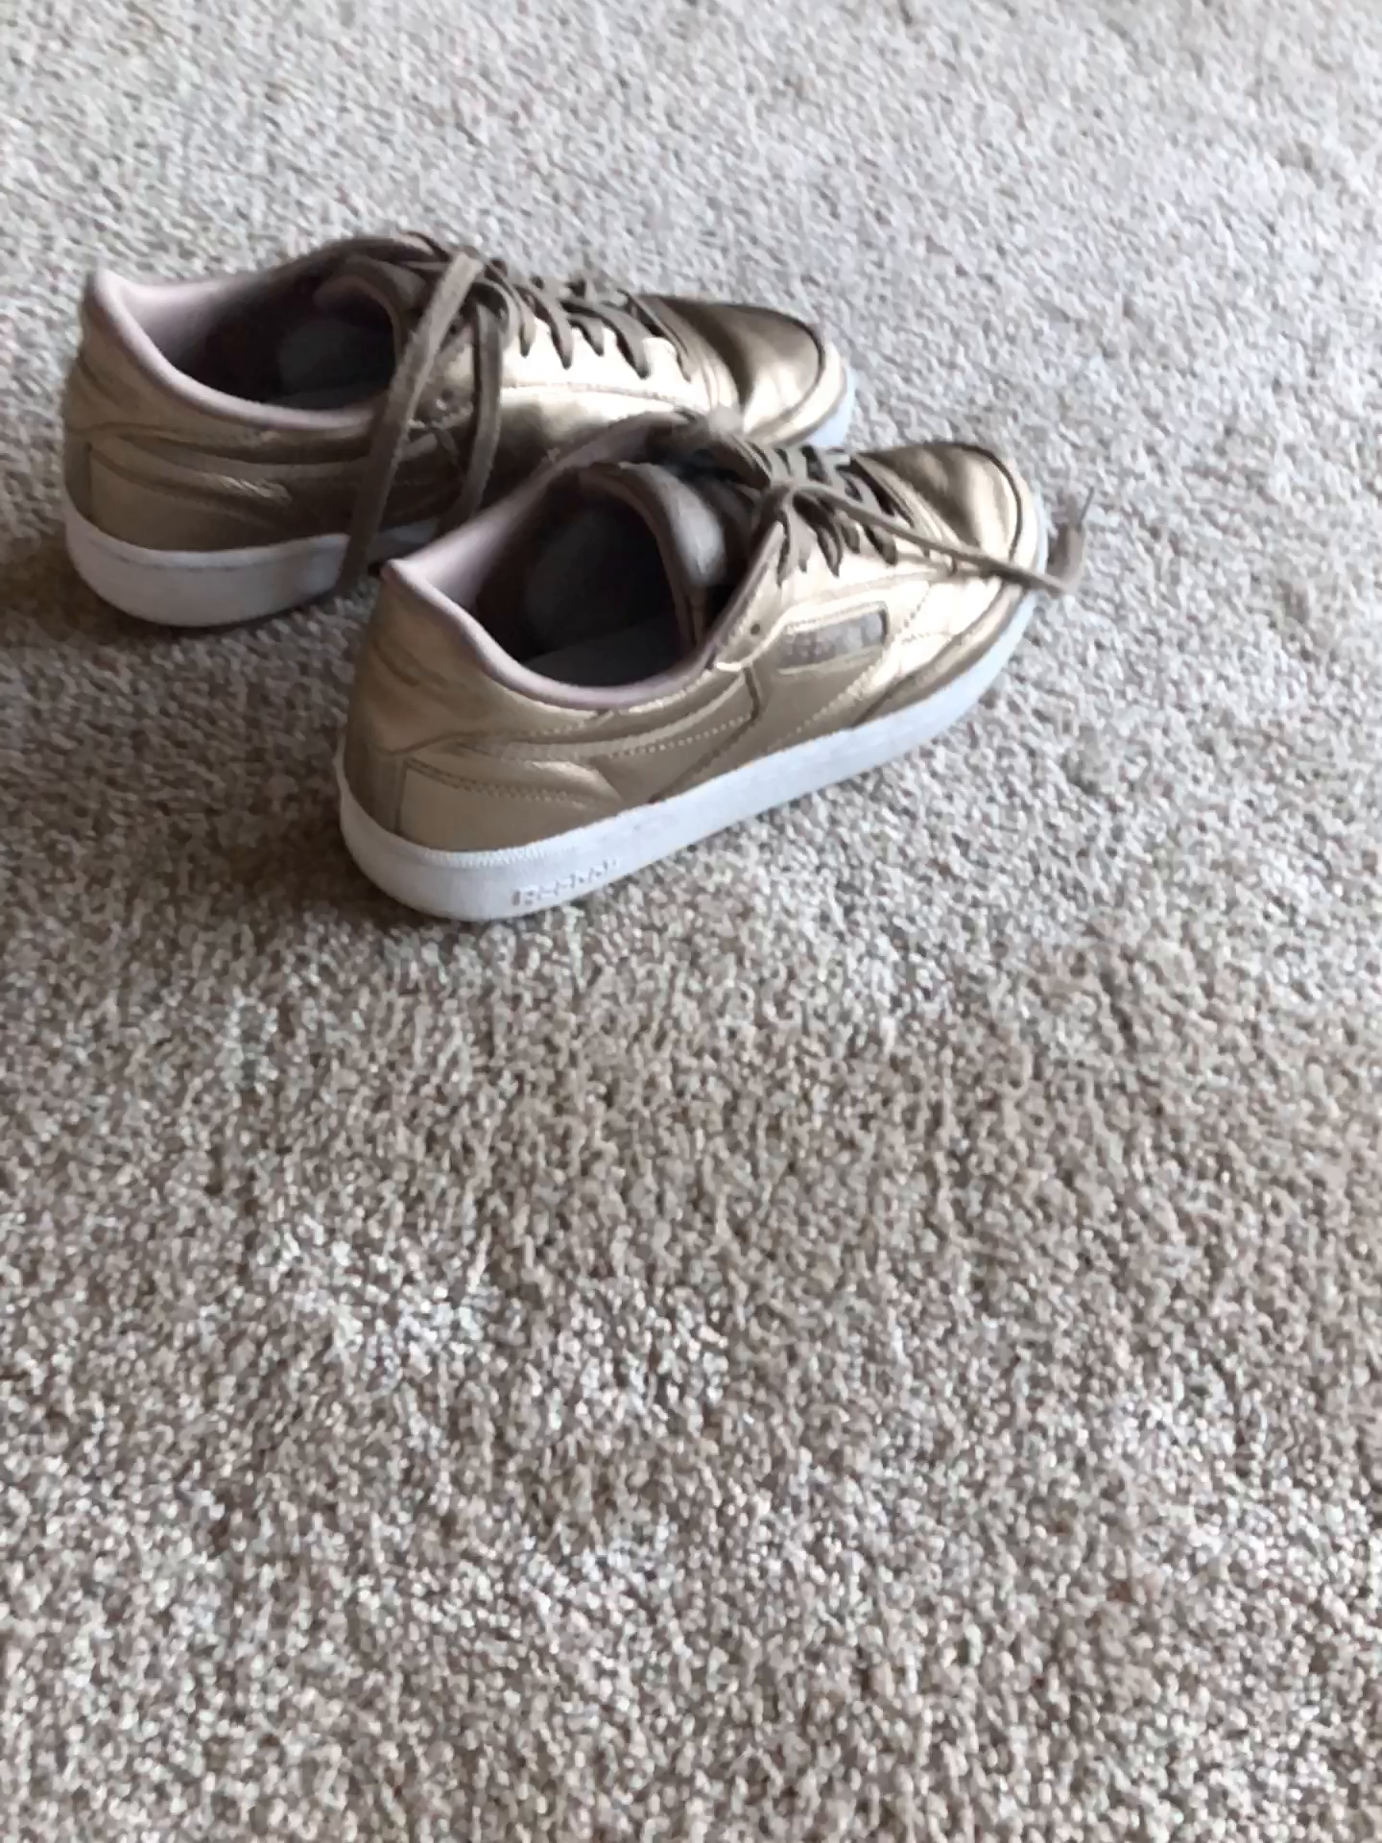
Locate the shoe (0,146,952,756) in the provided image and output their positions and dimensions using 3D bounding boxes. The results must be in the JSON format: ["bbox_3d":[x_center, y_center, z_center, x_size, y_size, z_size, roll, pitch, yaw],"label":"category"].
[{"bbox_3d":[-0.074,-0.151,0.462,0.281,0.070,0.110,-21,62,-24],"label":"shoe"}]

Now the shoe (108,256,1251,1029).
[{"bbox_3d":[0.006,-0.089,0.418,0.281,0.070,0.110,-26,64,-26],"label":"shoe"}]
